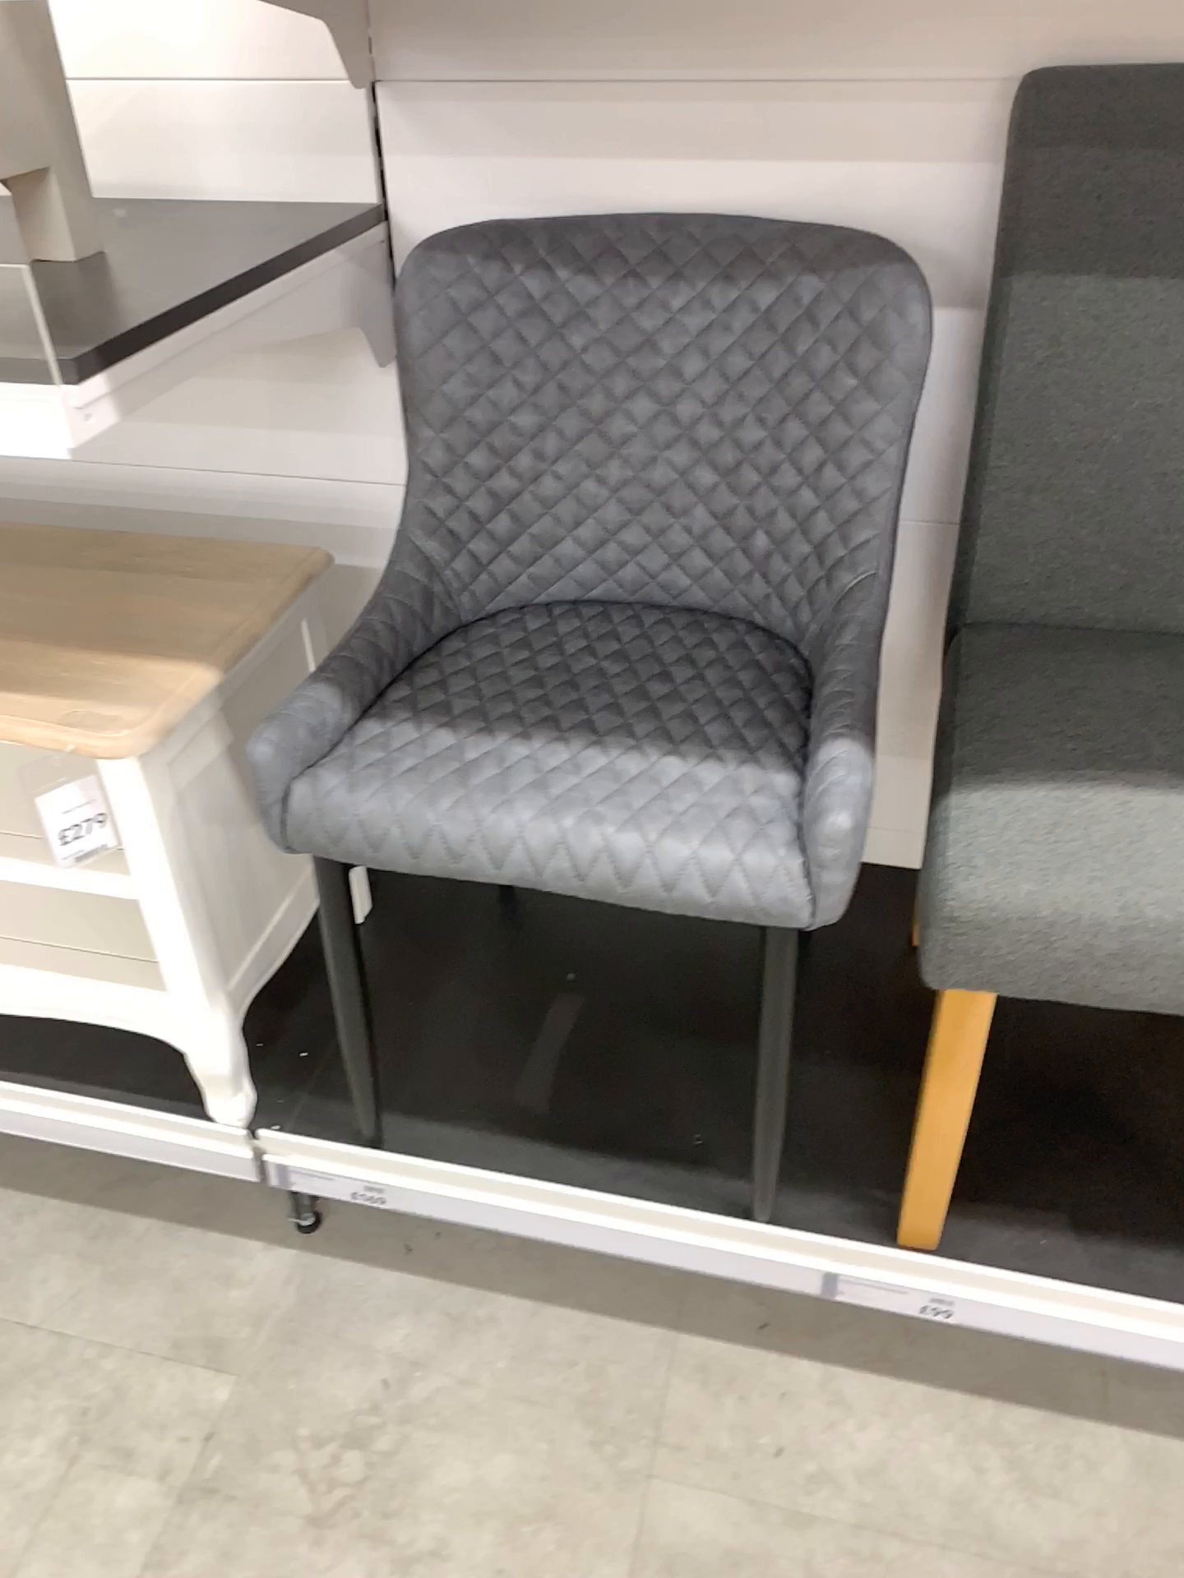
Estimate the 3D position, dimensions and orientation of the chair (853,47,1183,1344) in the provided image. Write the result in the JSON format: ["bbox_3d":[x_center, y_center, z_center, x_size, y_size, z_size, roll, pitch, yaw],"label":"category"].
[{"bbox_3d":[0.504,-0.084,1.040,0.430,0.911,0.565,6,35,11],"label":"chair"}]

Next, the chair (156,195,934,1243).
[{"bbox_3d":[0.026,-0.086,1.162,0.480,0.792,0.545,7,35,12],"label":"chair"}]
